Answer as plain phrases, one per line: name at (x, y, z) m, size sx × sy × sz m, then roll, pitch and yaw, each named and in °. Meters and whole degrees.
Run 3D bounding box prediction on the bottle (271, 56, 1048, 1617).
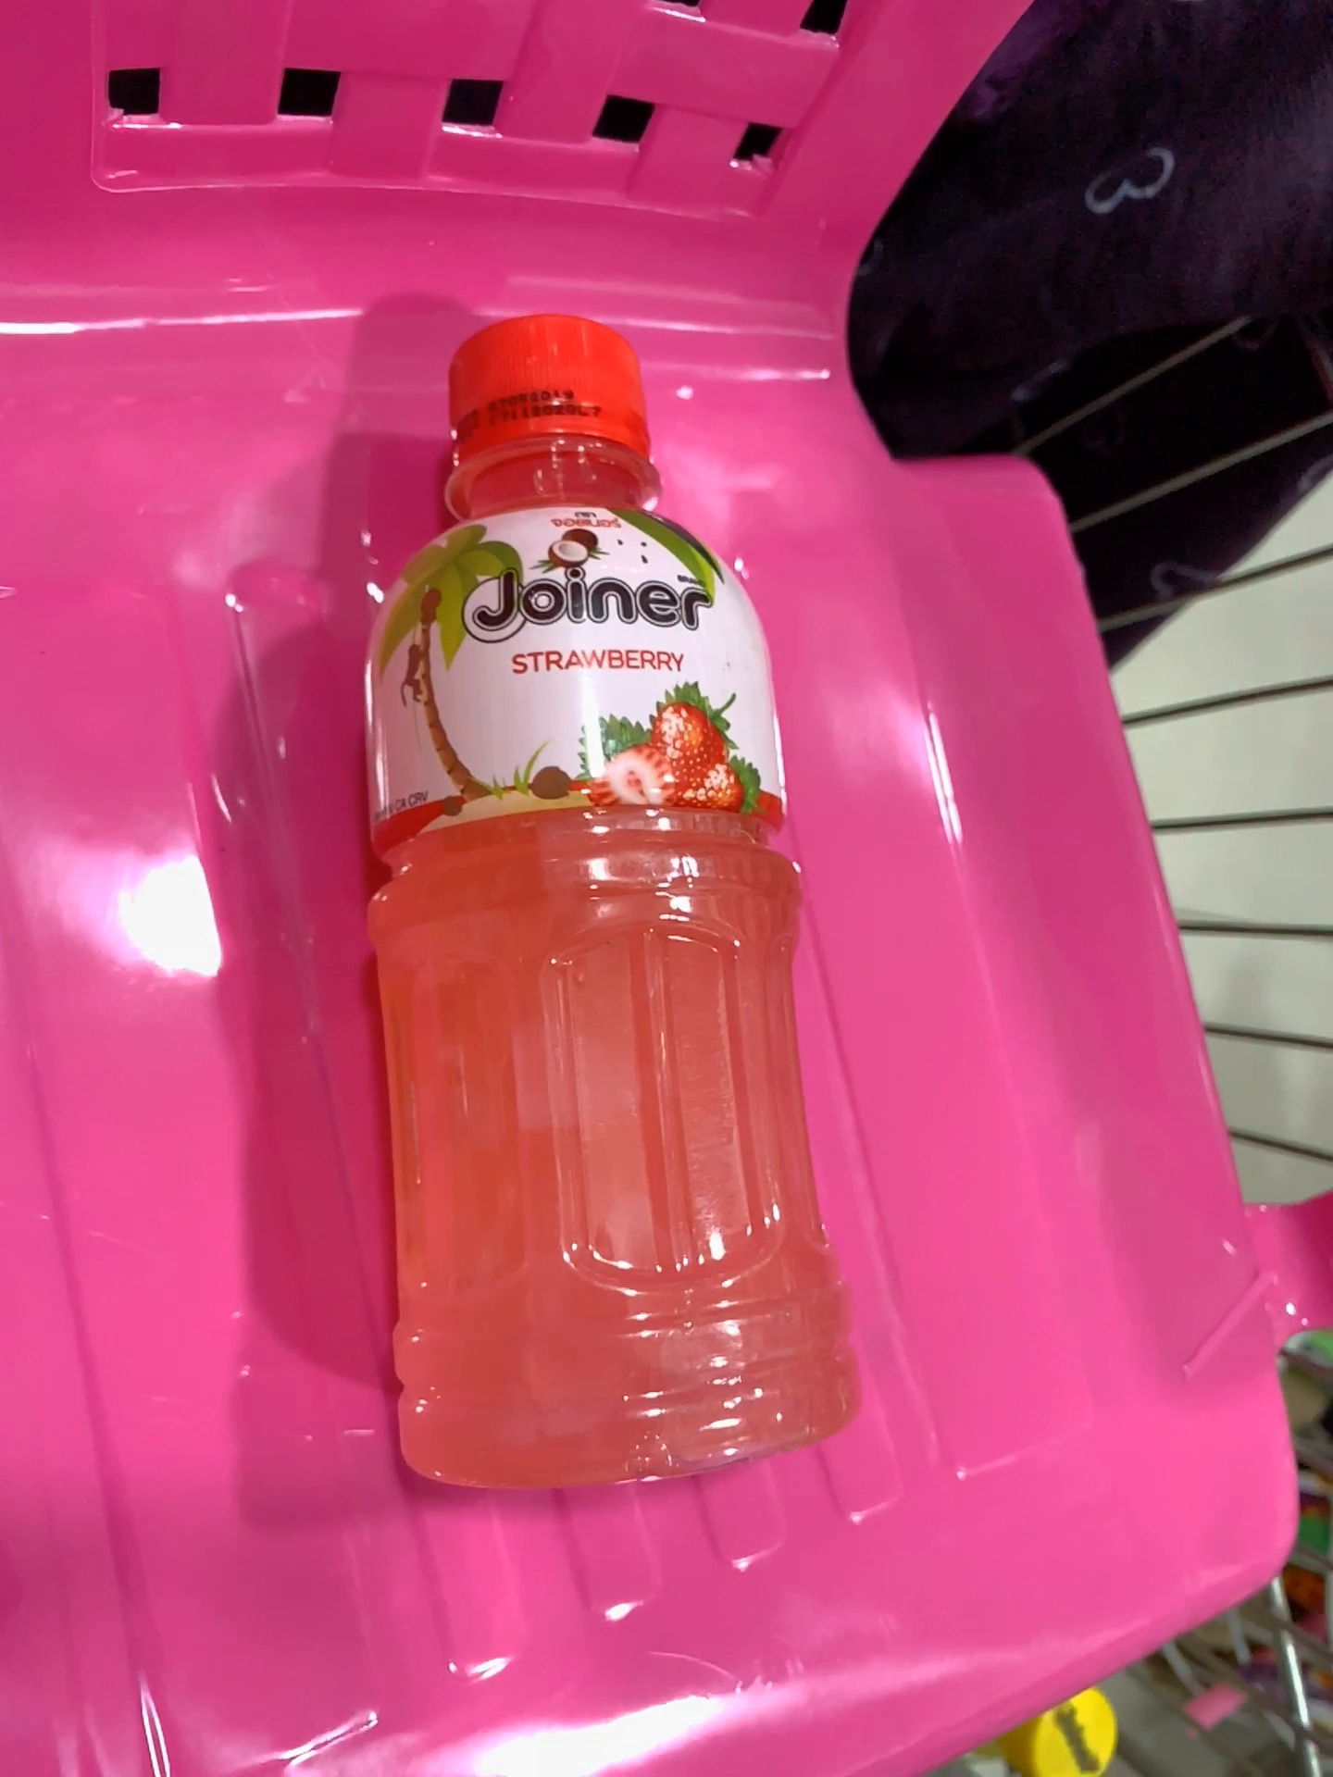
bottle at (-0.007, -0.006, 0.188) m, size 0.070 × 0.070 × 0.160 m, roll -2°, pitch 84°, yaw -26°
